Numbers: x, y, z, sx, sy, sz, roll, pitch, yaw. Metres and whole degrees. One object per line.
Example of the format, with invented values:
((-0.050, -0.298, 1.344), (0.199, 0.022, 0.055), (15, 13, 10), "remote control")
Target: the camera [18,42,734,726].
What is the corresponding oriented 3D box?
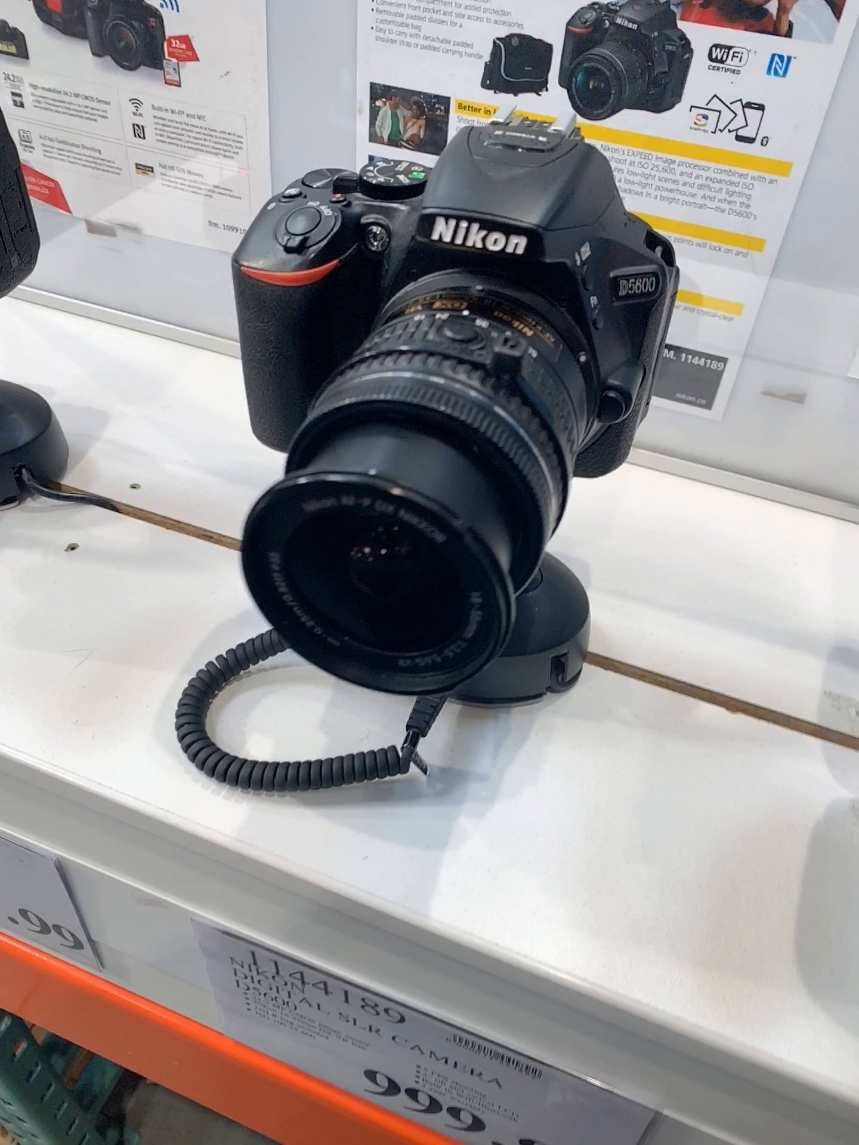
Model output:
((0.002, -0.058, 0.219), (0.111, 0.090, 0.141), (14, 43, 11), "camera")
